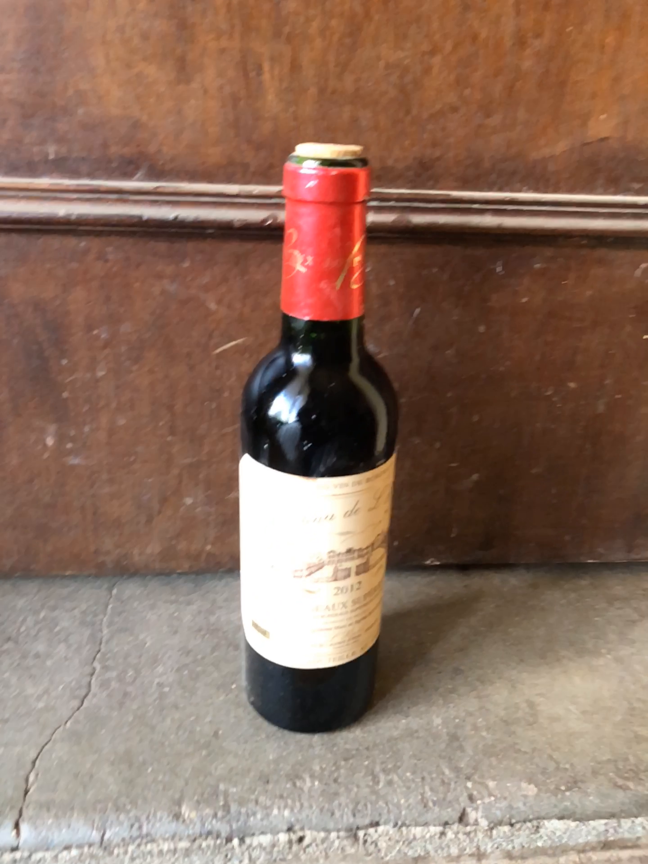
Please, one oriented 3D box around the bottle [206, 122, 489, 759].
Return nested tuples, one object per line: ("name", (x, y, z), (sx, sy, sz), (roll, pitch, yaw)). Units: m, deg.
("bottle", (0.003, 0.009, 0.286), (0.070, 0.239, 0.060), (-17, 32, -35))
